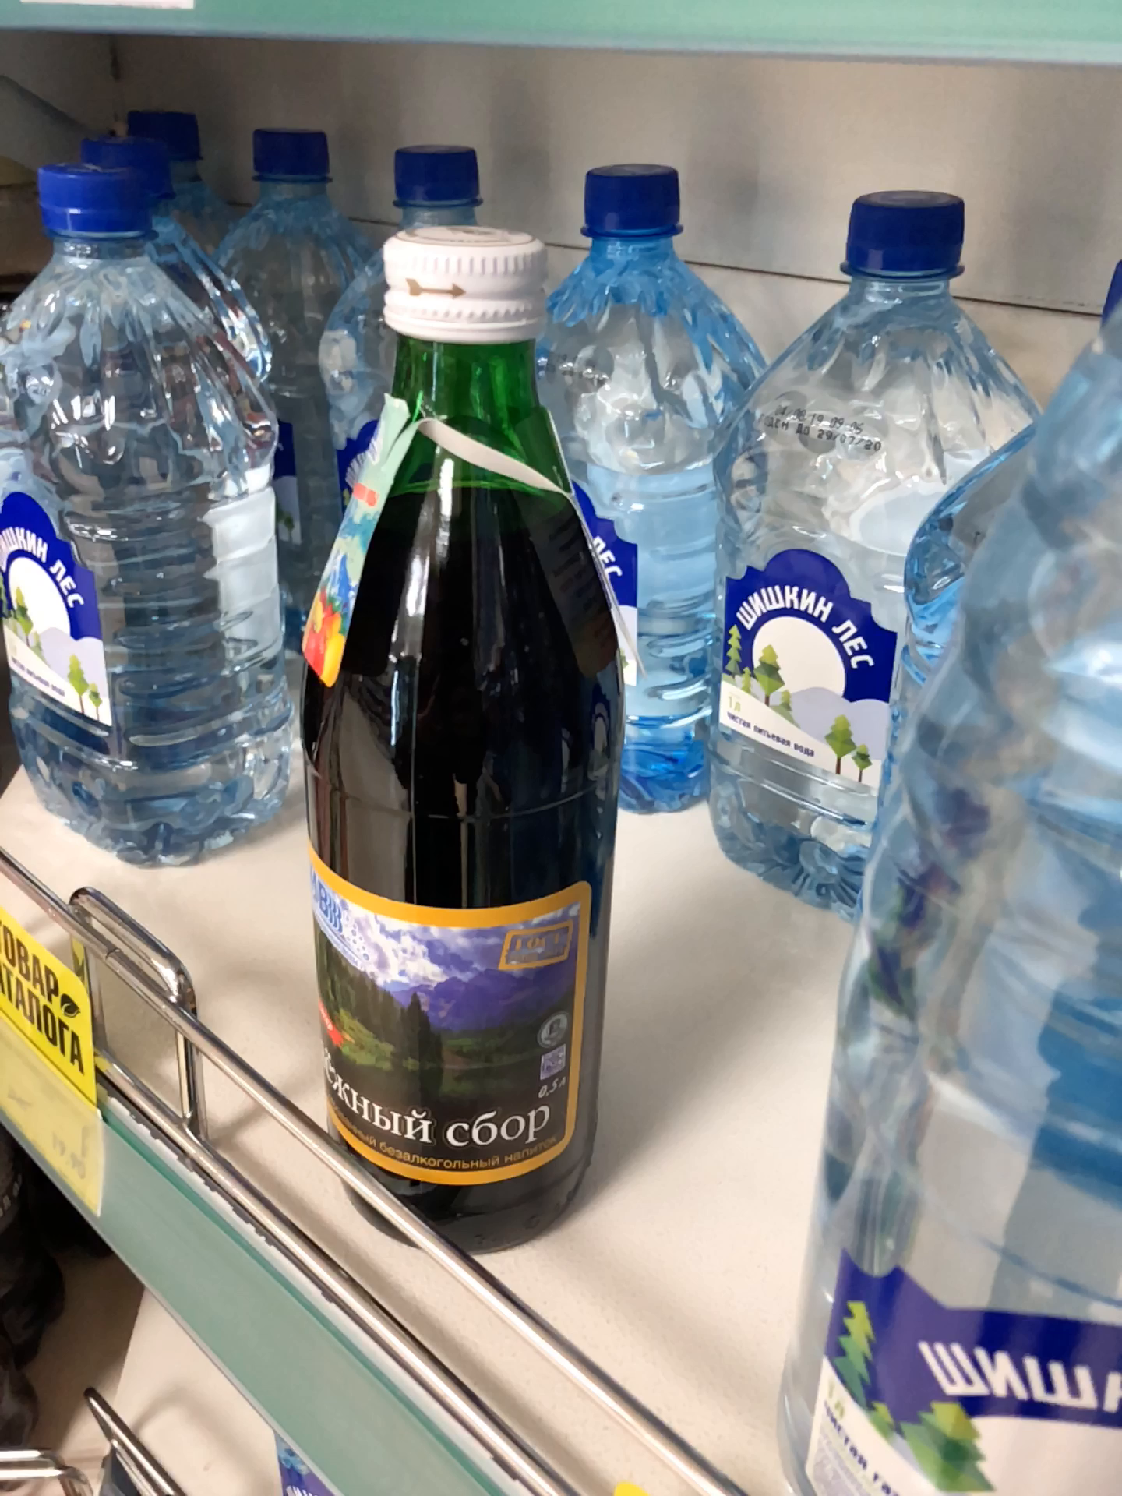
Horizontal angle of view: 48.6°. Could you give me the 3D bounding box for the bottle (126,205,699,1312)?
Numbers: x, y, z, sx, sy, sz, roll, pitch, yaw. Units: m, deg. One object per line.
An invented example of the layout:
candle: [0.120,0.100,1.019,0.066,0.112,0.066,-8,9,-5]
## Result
bottle: [-0.025,0.006,0.270,0.075,0.219,0.068,25,38,38]
